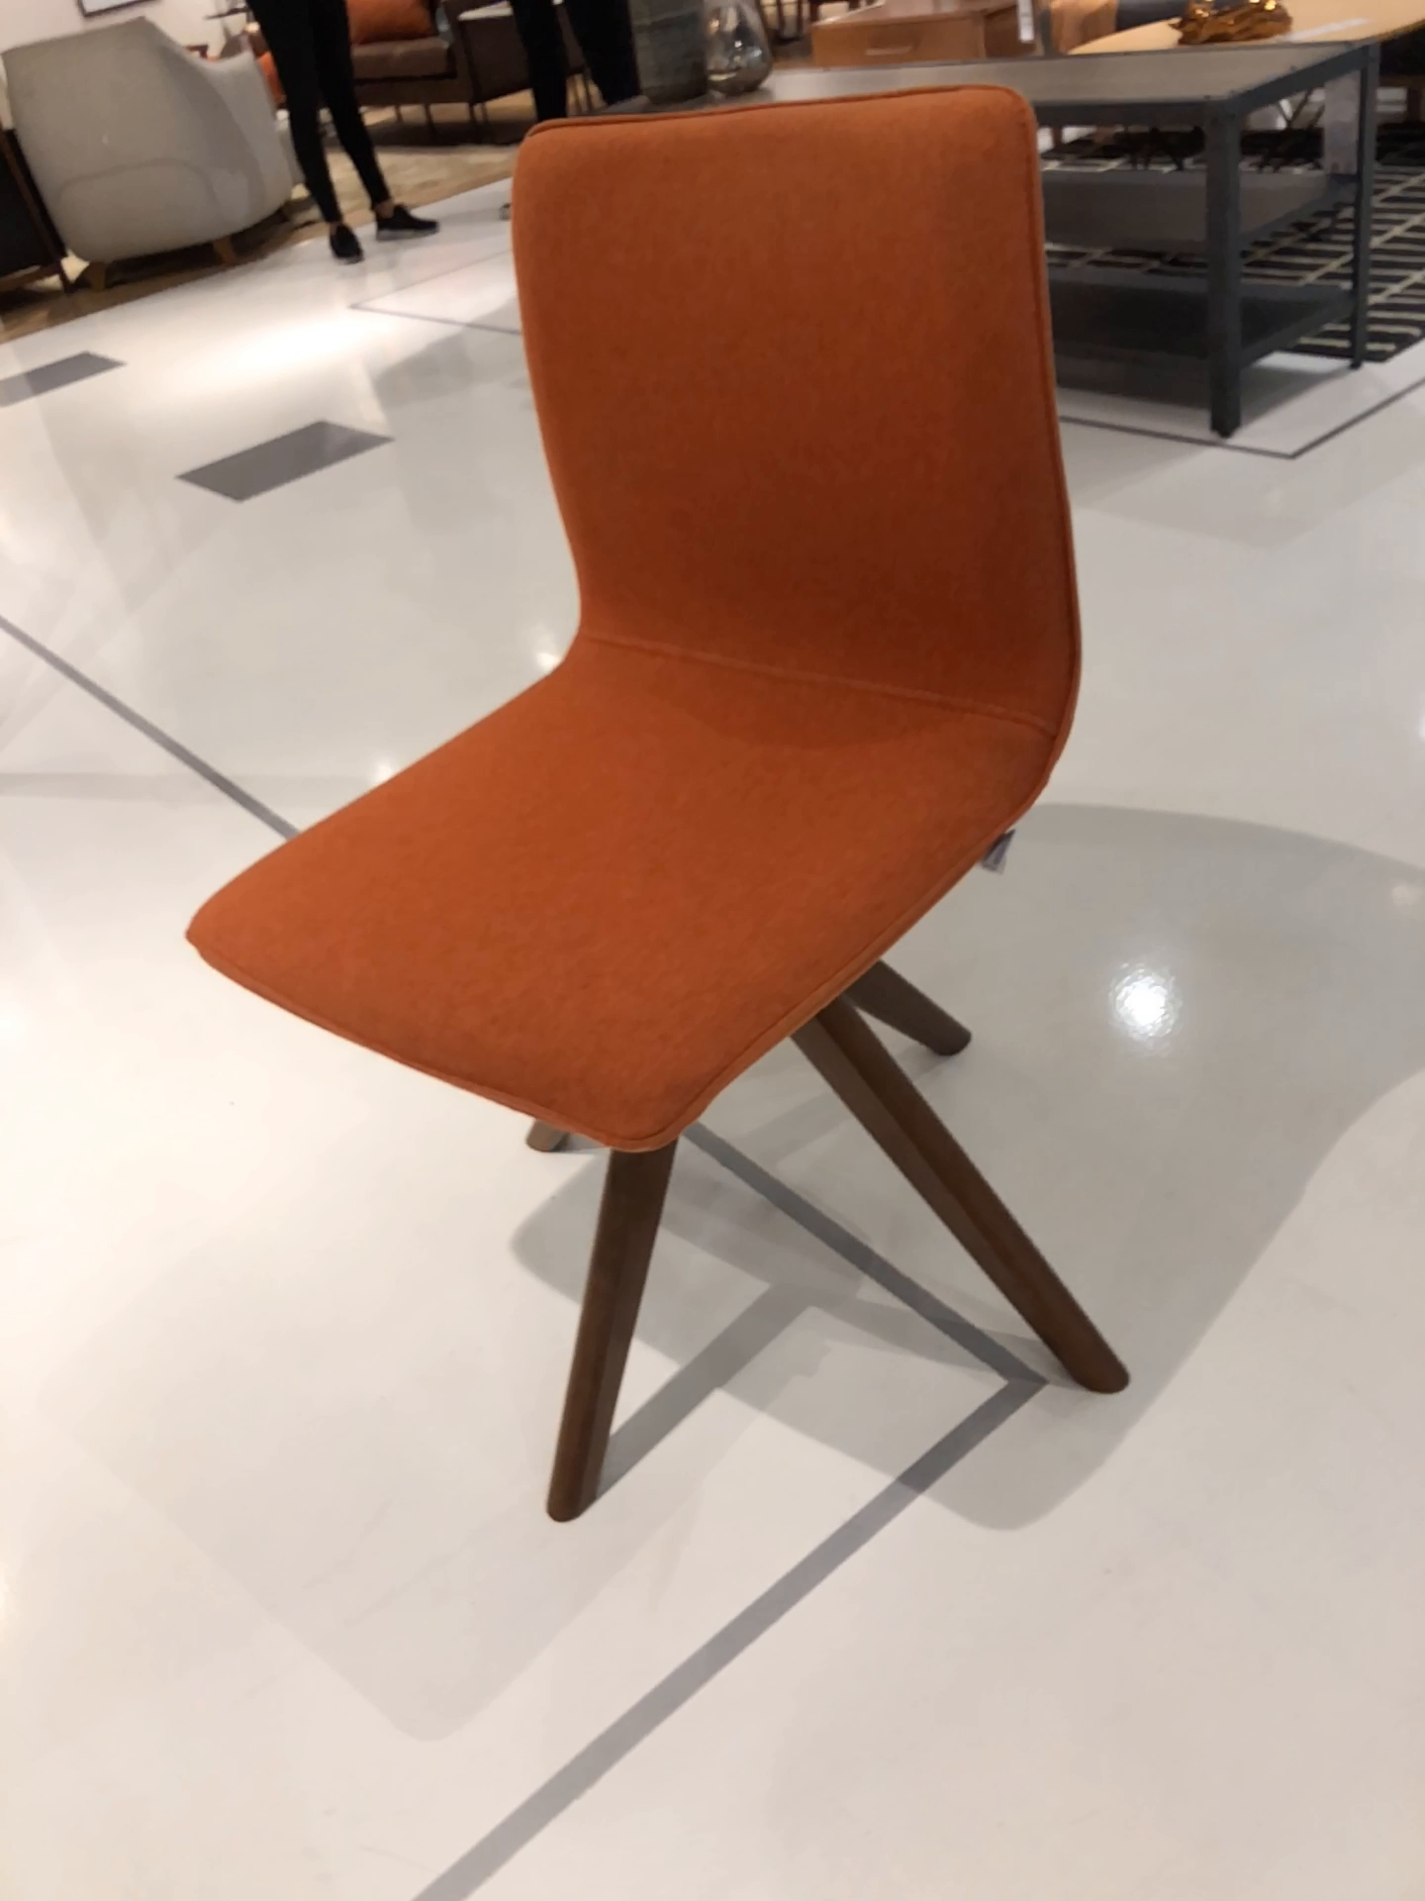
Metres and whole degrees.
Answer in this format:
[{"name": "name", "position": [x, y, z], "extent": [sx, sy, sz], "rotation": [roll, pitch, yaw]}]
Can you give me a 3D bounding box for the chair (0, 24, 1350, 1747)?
[{"name": "chair", "position": [-0.004, -0.086, 1.080], "extent": [0.612, 0.794, 0.612], "rotation": [18, 45, 38]}]
